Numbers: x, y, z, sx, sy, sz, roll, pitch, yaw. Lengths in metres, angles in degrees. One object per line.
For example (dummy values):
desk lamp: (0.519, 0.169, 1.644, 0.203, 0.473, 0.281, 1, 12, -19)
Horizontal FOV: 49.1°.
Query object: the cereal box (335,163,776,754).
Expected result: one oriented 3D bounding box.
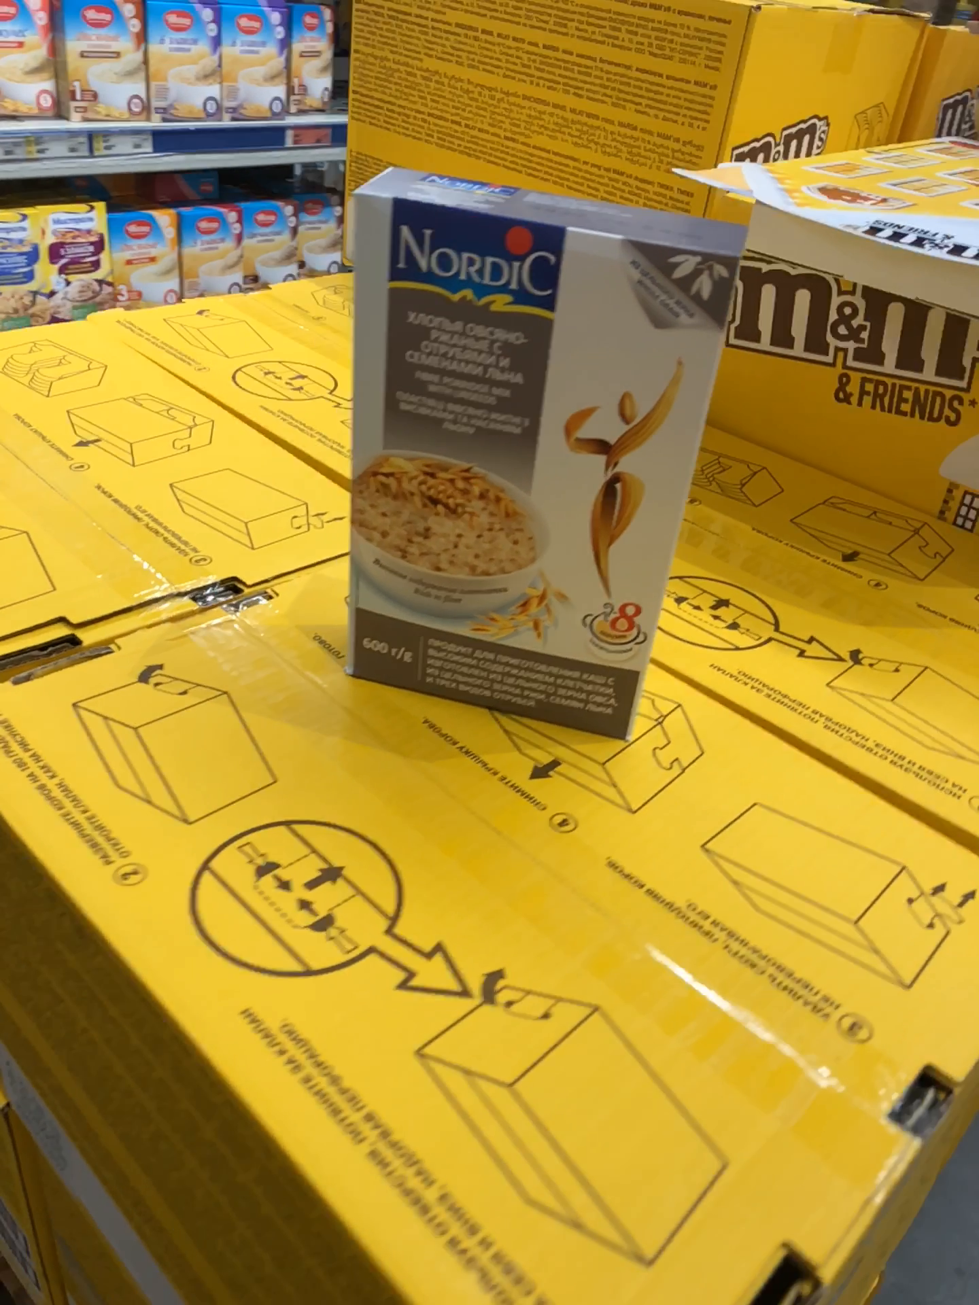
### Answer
cereal box: (0.017, -0.074, 0.457, 0.150, 0.218, 0.050, 14, 36, 9)
